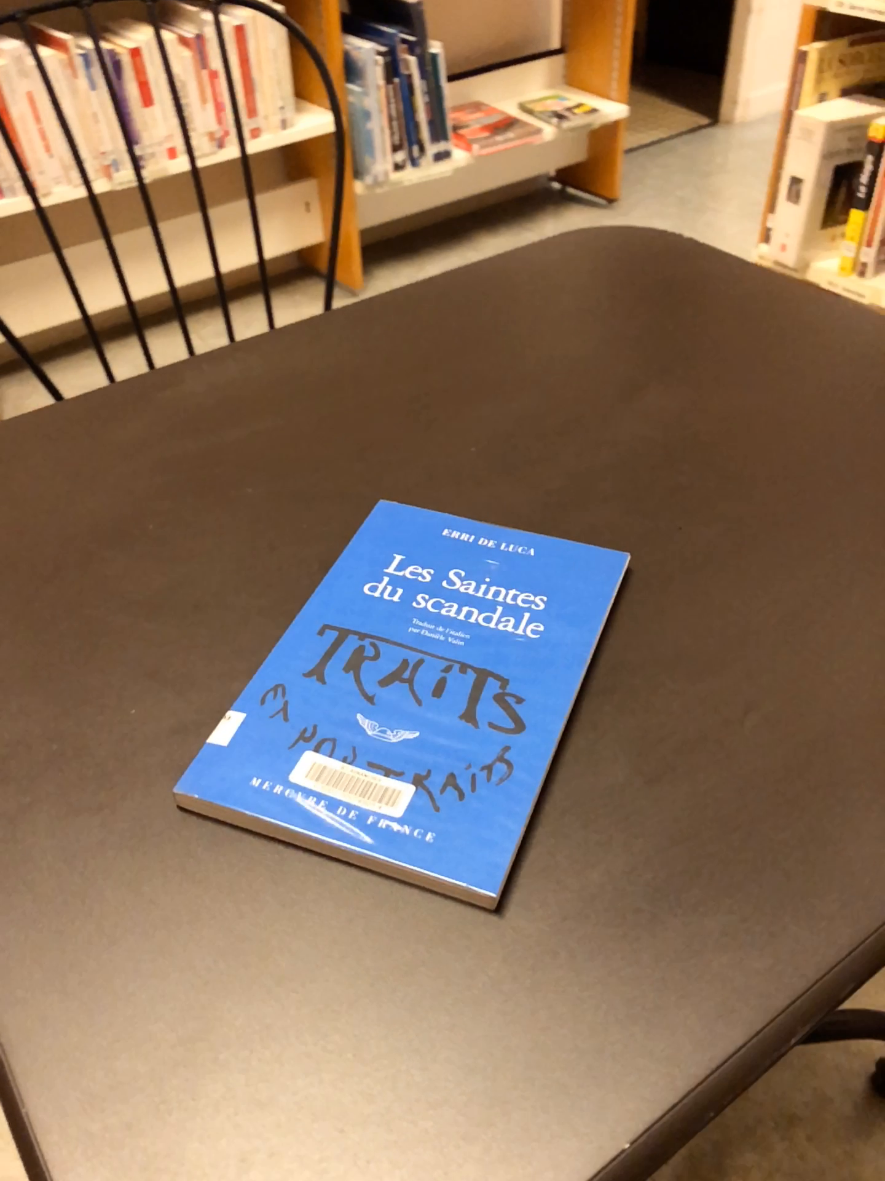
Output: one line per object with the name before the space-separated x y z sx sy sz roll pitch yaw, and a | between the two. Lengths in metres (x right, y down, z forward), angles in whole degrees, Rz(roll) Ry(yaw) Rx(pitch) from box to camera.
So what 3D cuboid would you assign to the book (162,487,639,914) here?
book | -0.005 0.031 0.450 0.144 0.017 0.216 13 43 17
